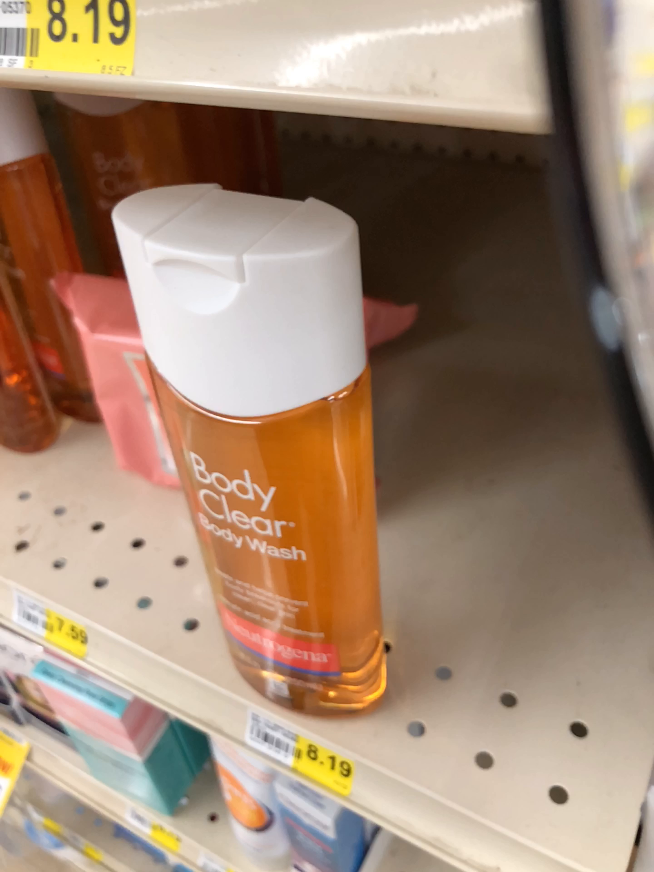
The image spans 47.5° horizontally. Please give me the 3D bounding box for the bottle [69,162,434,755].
[{"bbox_3d":[-0.008,0.021,0.232,0.070,0.190,0.045,16,47,25],"label":"bottle"}]
